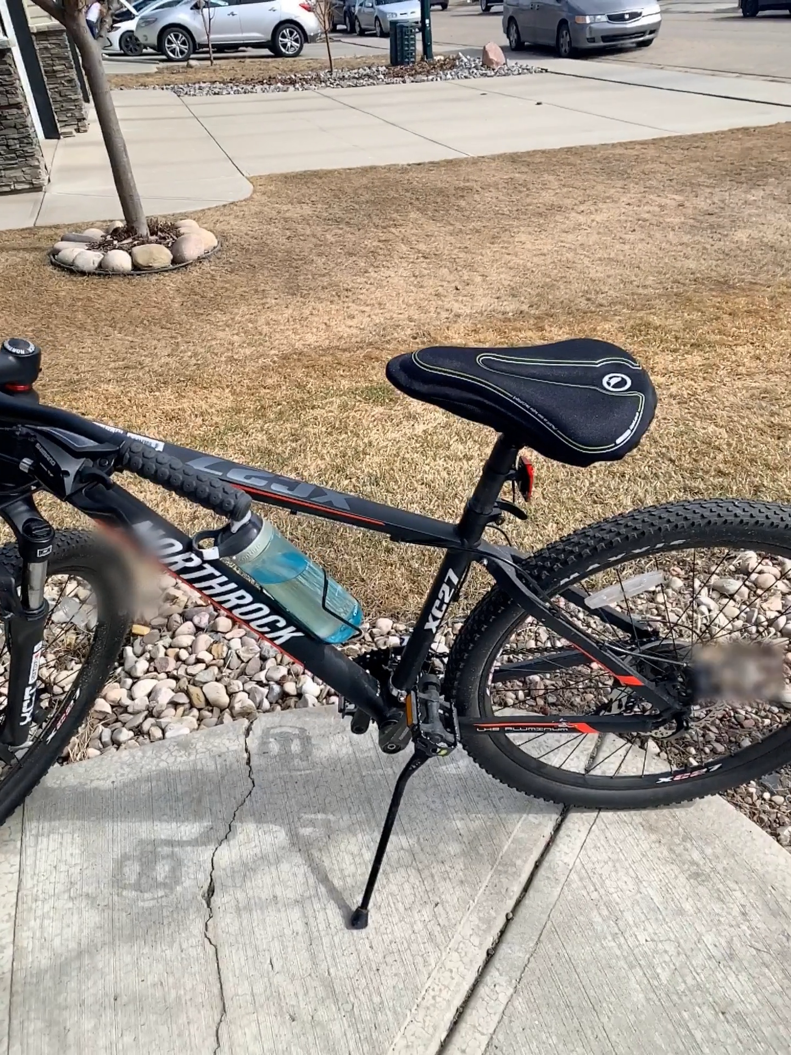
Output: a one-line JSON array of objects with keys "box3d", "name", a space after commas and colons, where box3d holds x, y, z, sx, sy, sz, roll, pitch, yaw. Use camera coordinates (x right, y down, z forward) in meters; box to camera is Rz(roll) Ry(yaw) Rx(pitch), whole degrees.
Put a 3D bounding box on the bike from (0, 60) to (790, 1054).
[{"box3d": [-0.086, 0.176, 0.964, 1.478, 1.004, 0.603, -10, 34, -2], "name": "bike"}]
